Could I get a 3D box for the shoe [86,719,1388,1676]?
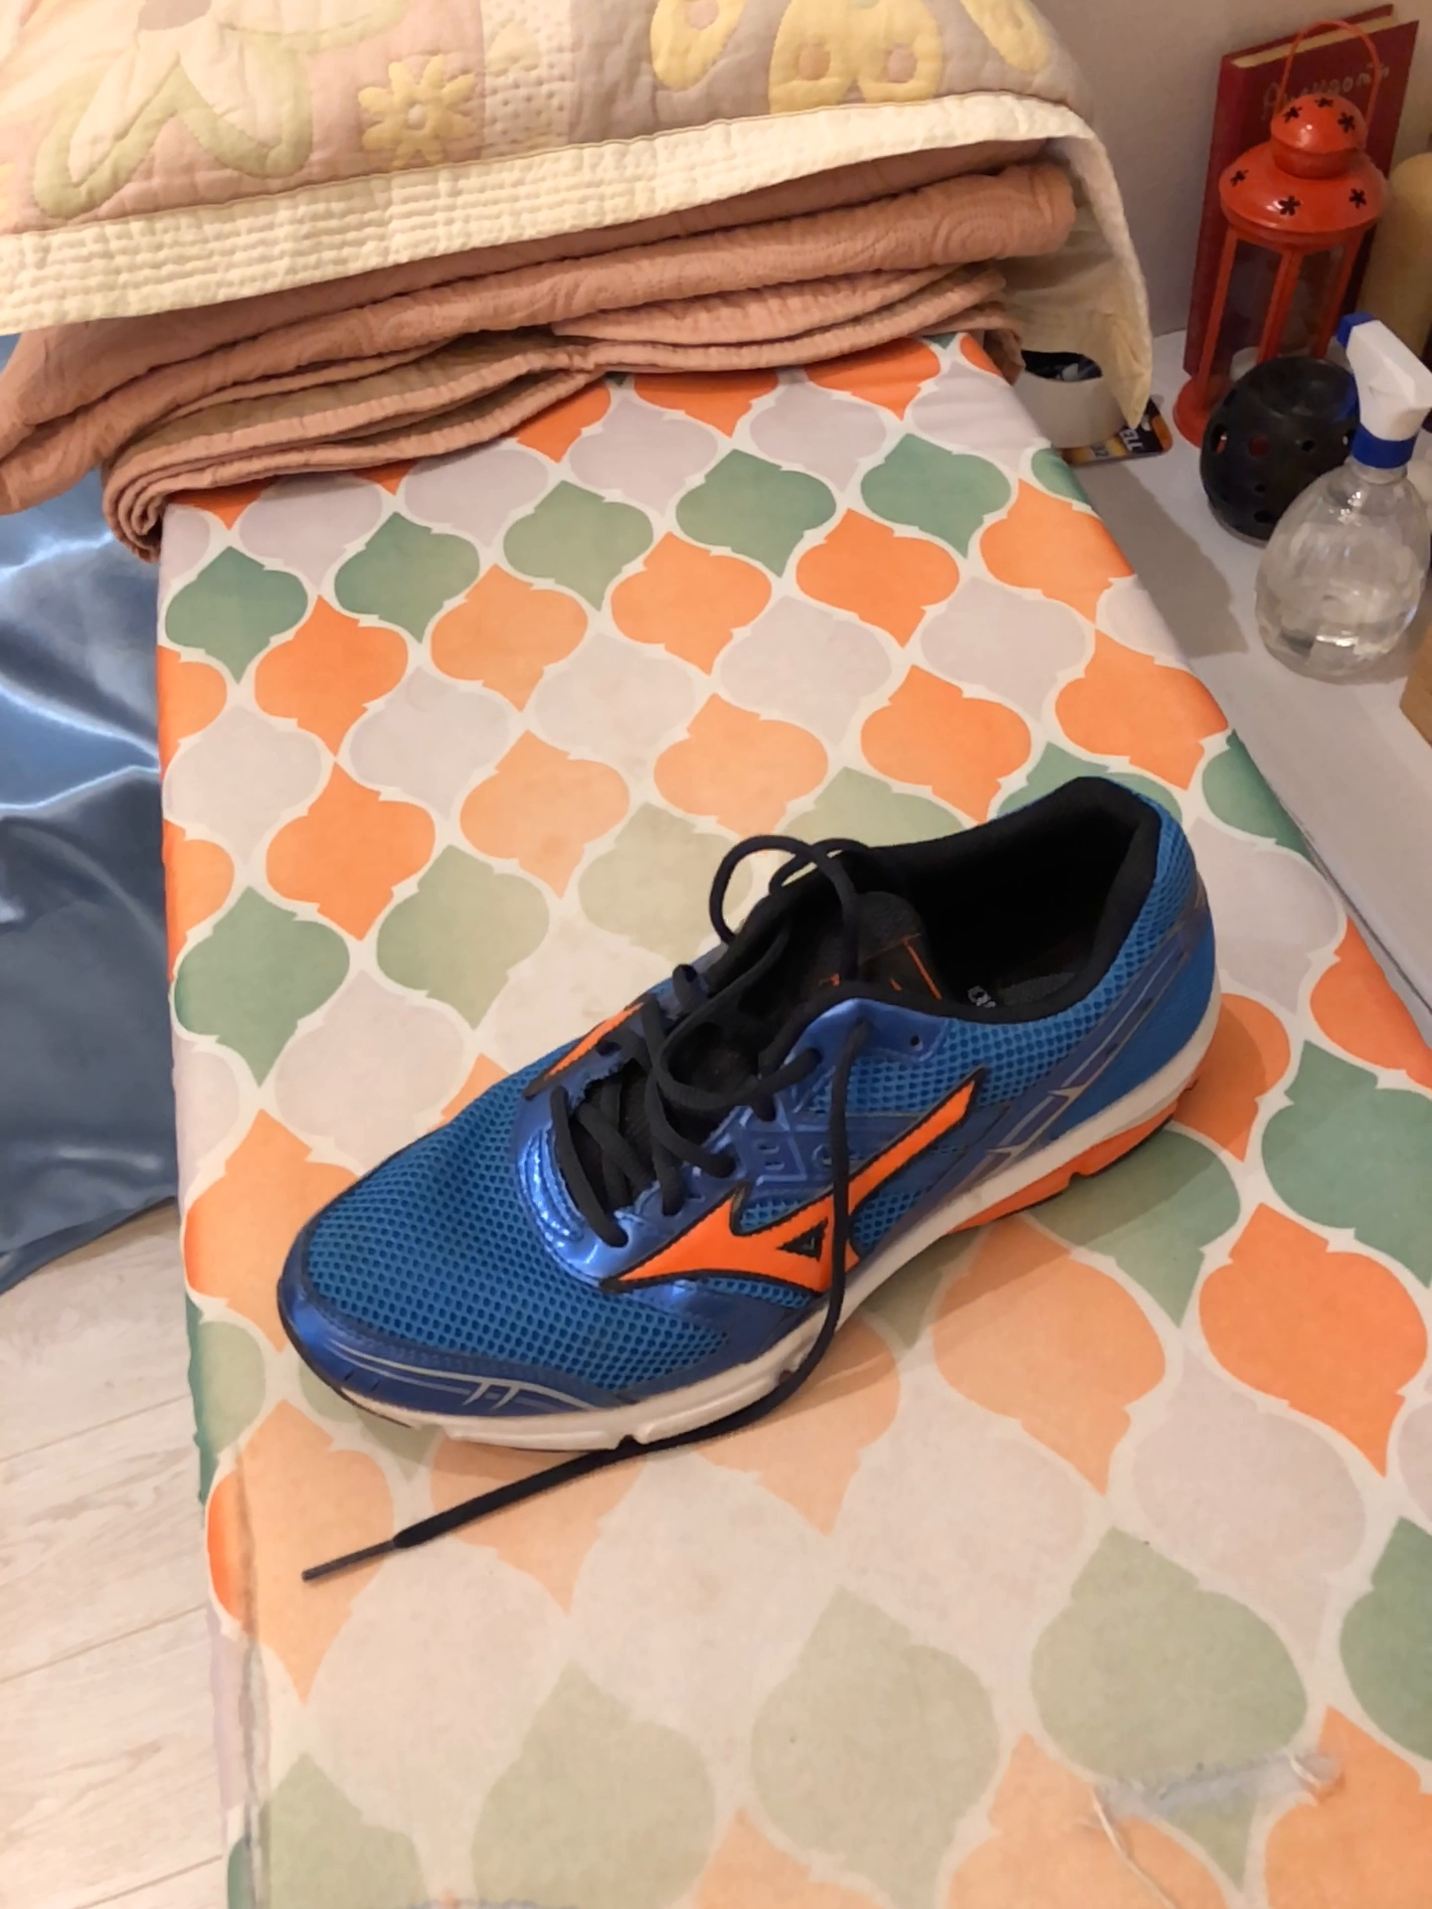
[{"bbox_3d":[0.007,0.064,0.443,0.310,0.109,0.121,-22,55,-10],"label":"shoe"}]
